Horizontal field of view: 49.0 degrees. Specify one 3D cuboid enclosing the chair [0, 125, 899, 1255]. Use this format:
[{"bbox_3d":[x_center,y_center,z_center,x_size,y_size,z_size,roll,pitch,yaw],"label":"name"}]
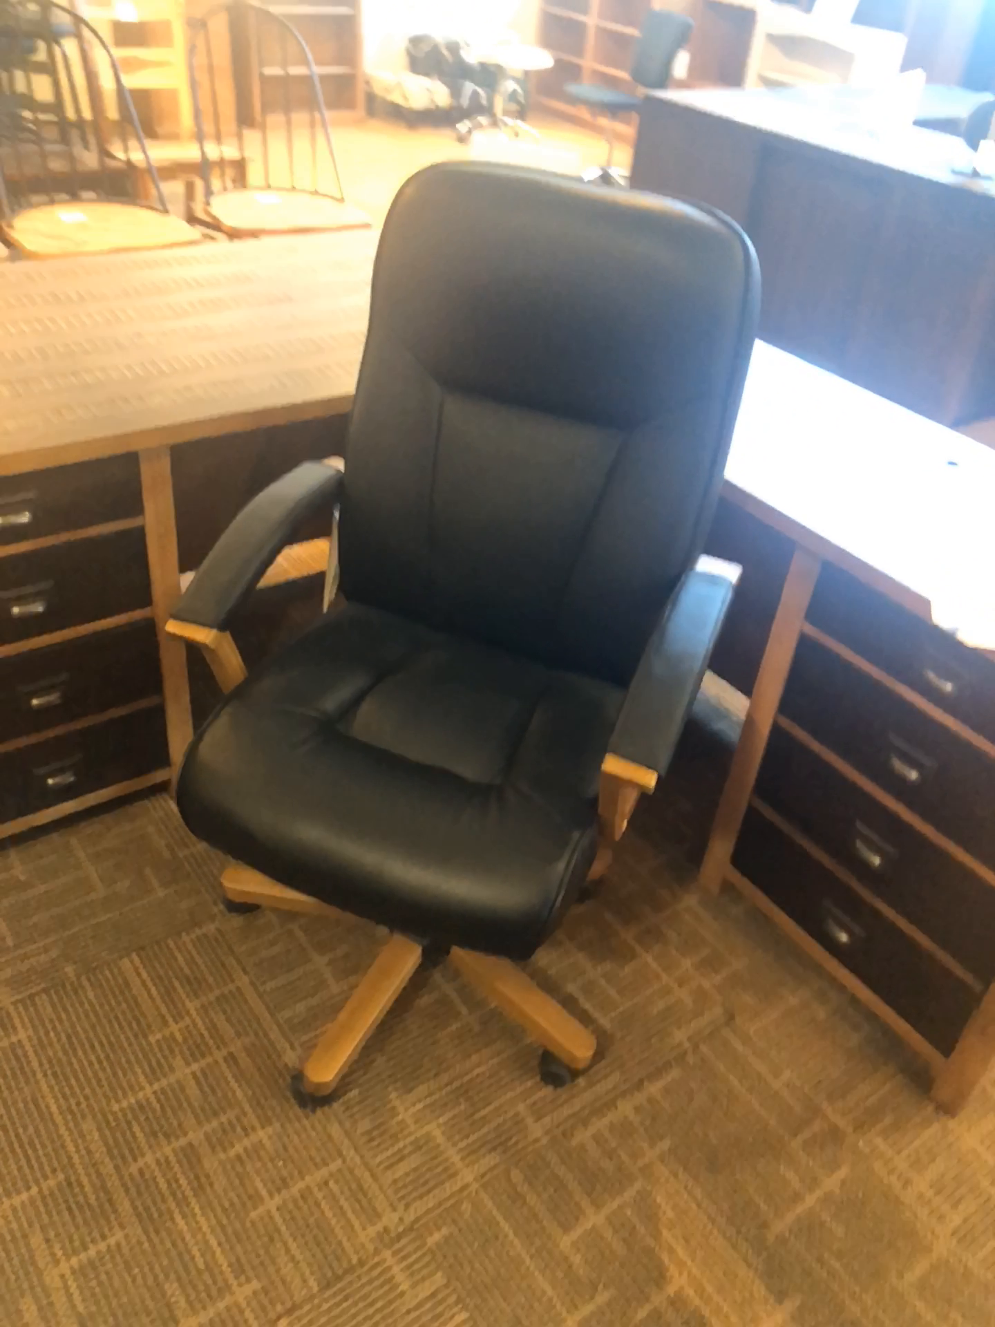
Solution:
[{"bbox_3d":[-0.066,0.001,1.455,0.738,1.104,0.745,20,38,18],"label":"chair"}]
